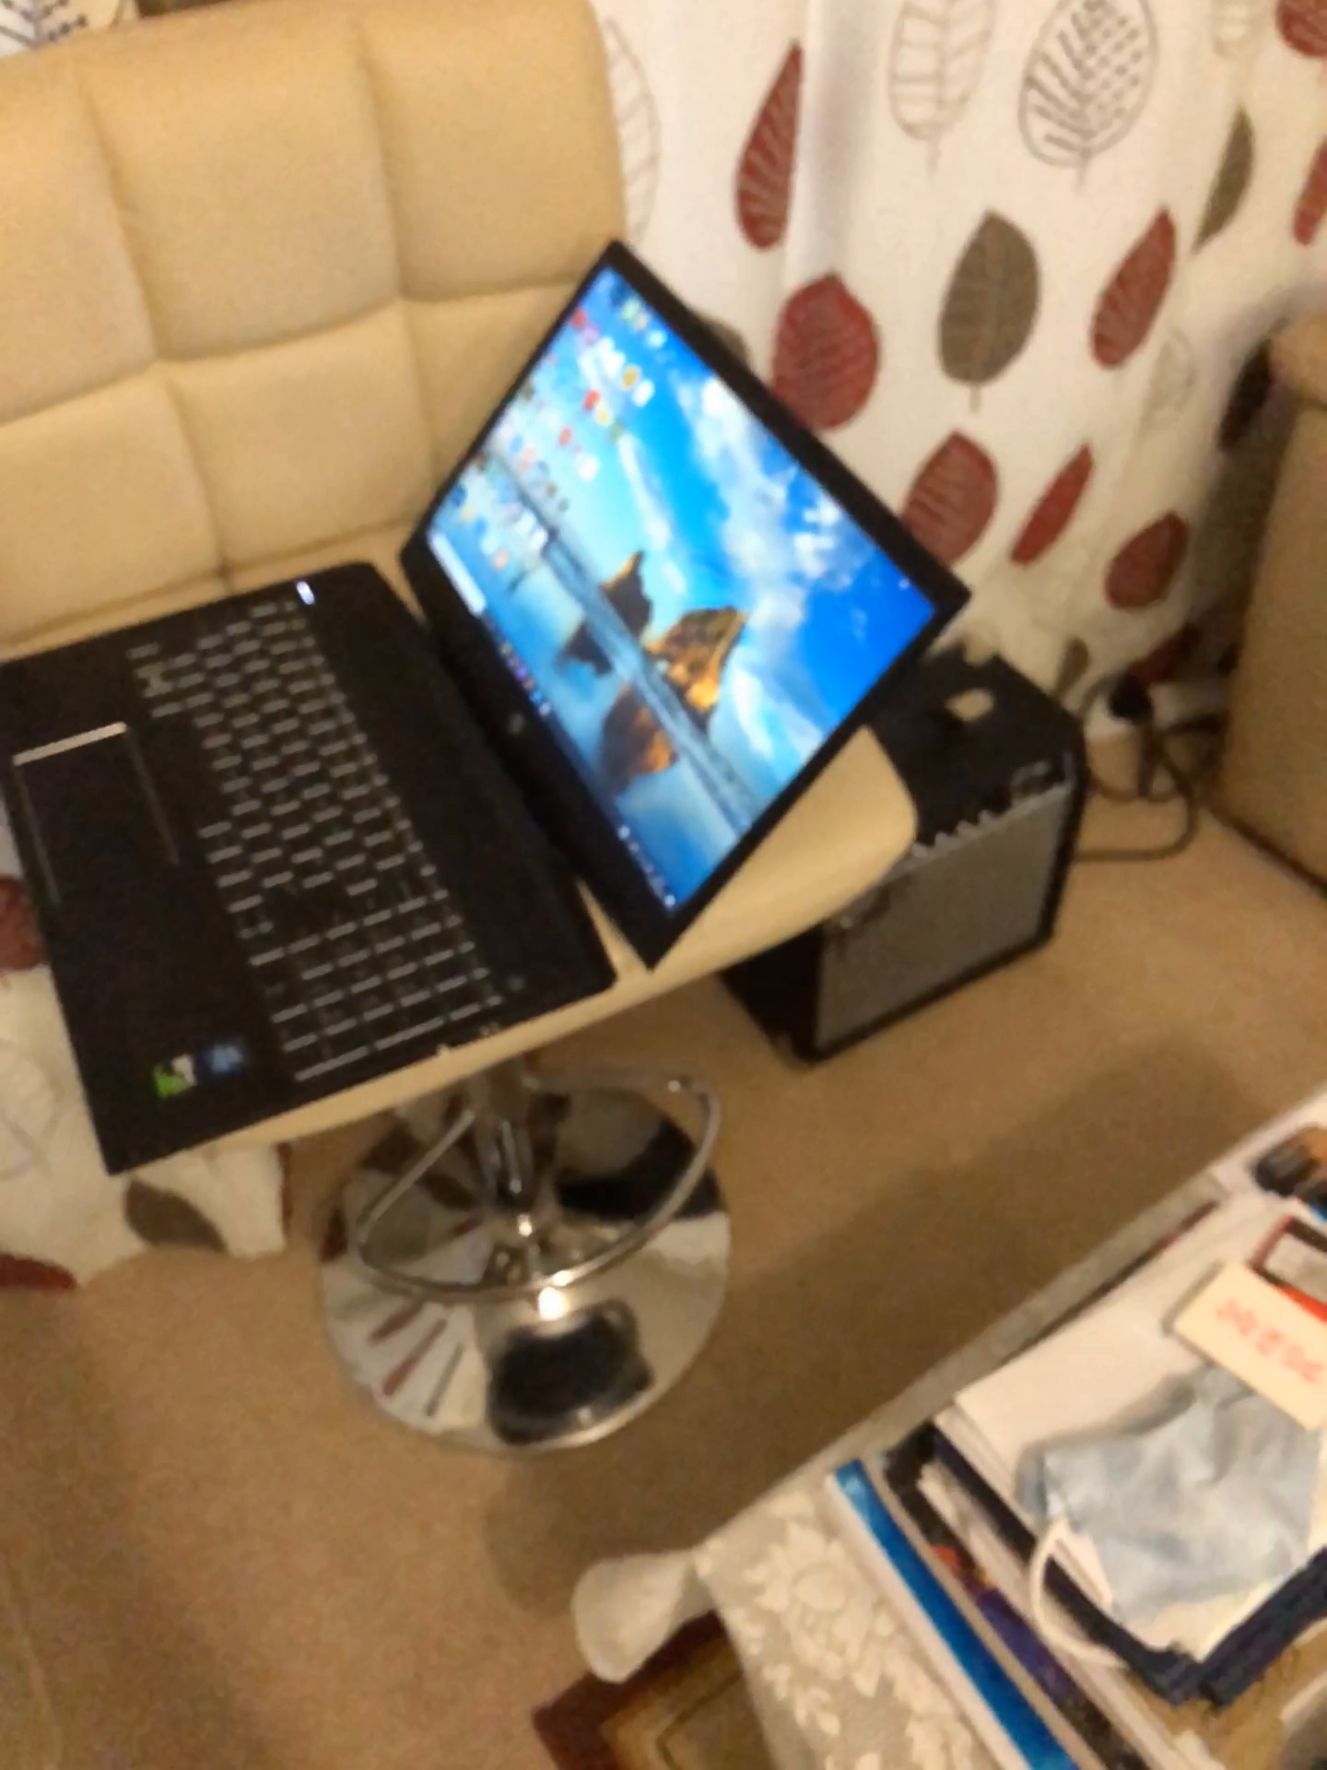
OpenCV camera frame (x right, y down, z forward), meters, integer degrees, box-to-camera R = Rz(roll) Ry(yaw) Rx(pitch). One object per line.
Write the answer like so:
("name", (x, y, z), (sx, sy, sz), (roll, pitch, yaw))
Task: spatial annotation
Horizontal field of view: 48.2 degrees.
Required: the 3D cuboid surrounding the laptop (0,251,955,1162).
("laptop", (-0.130, -0.120, 0.724), (0.401, 0.159, 0.349), (-20, 52, -18))
